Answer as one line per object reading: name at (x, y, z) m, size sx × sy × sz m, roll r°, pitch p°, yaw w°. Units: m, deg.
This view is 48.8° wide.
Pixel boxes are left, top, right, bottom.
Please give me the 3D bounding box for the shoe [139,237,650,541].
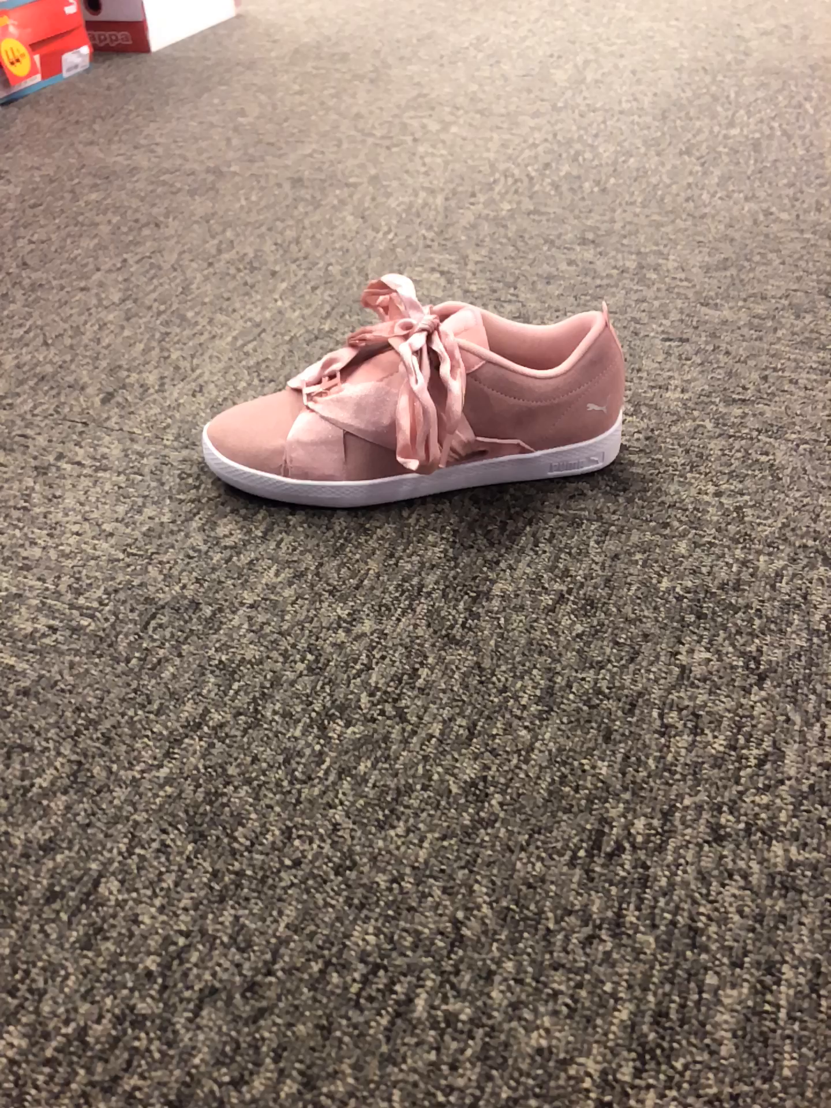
shoe at (-0.007, -0.095, 0.533) m, size 0.262 × 0.099 × 0.101 m, roll -7°, pitch 39°, yaw 7°
